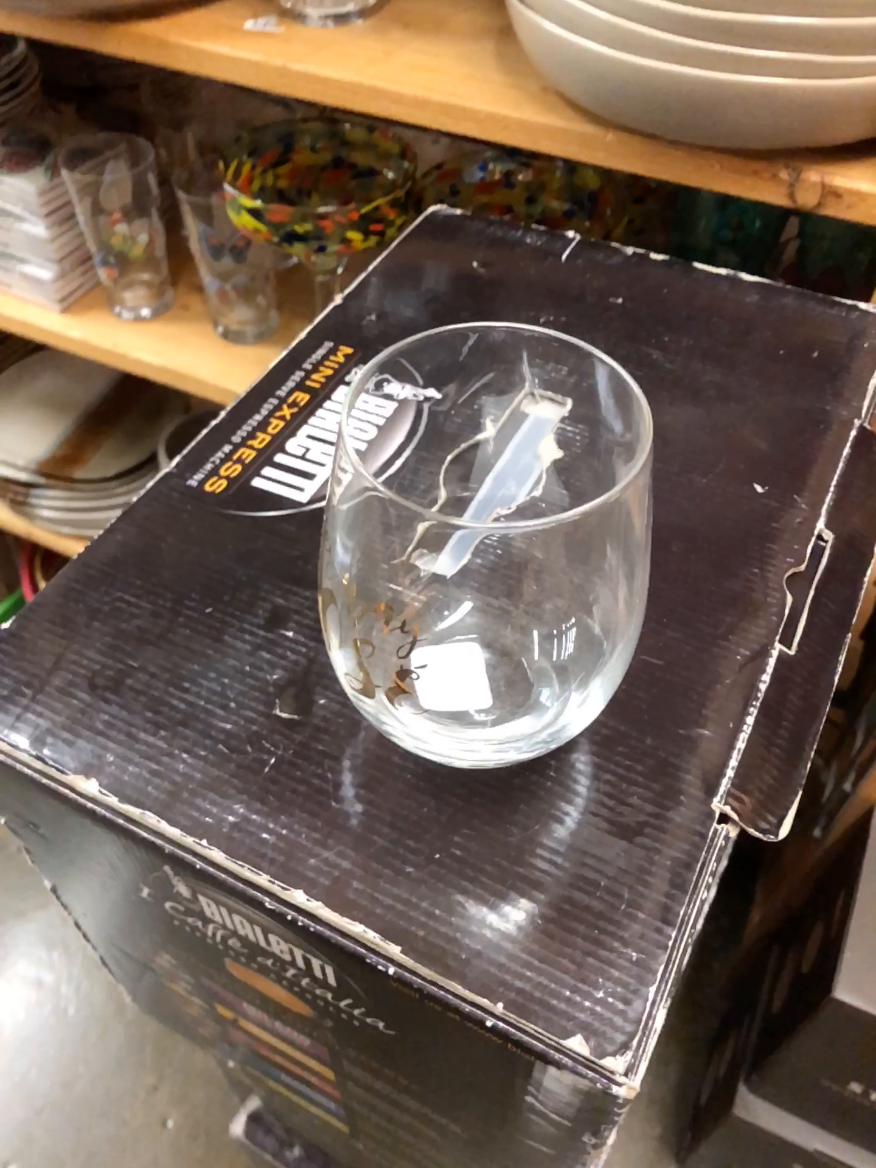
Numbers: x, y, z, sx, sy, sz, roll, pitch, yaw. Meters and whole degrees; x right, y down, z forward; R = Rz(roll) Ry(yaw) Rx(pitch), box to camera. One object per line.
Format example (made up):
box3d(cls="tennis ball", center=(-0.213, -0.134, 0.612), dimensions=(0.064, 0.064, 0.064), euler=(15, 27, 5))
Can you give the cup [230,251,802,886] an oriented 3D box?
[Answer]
box3d(cls="cup", center=(0.016, -0.004, 0.266), dimensions=(0.090, 0.114, 0.096), euler=(0, 50, 0))
